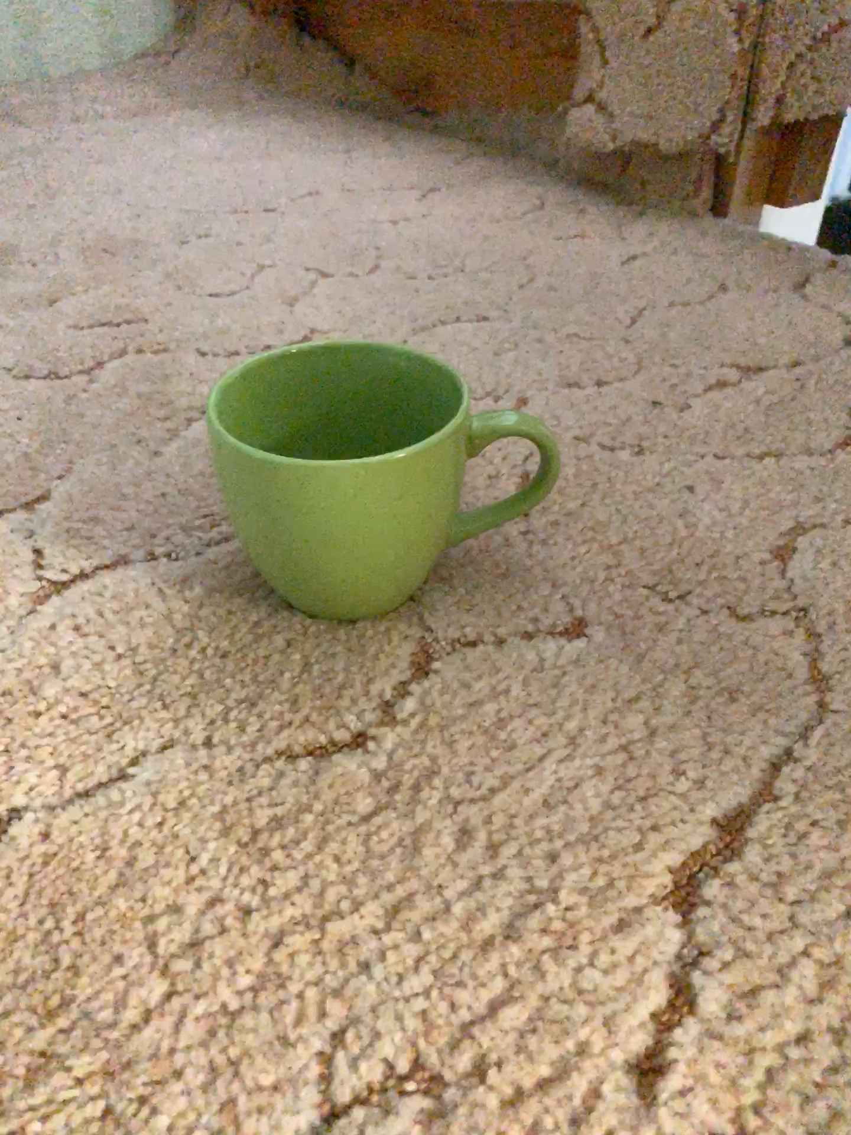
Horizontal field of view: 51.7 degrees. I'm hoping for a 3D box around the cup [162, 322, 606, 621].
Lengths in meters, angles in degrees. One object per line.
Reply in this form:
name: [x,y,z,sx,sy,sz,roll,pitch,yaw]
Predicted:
cup: [-0.013,-0.036,0.292,0.120,0.059,0.091,-2,34,-3]
